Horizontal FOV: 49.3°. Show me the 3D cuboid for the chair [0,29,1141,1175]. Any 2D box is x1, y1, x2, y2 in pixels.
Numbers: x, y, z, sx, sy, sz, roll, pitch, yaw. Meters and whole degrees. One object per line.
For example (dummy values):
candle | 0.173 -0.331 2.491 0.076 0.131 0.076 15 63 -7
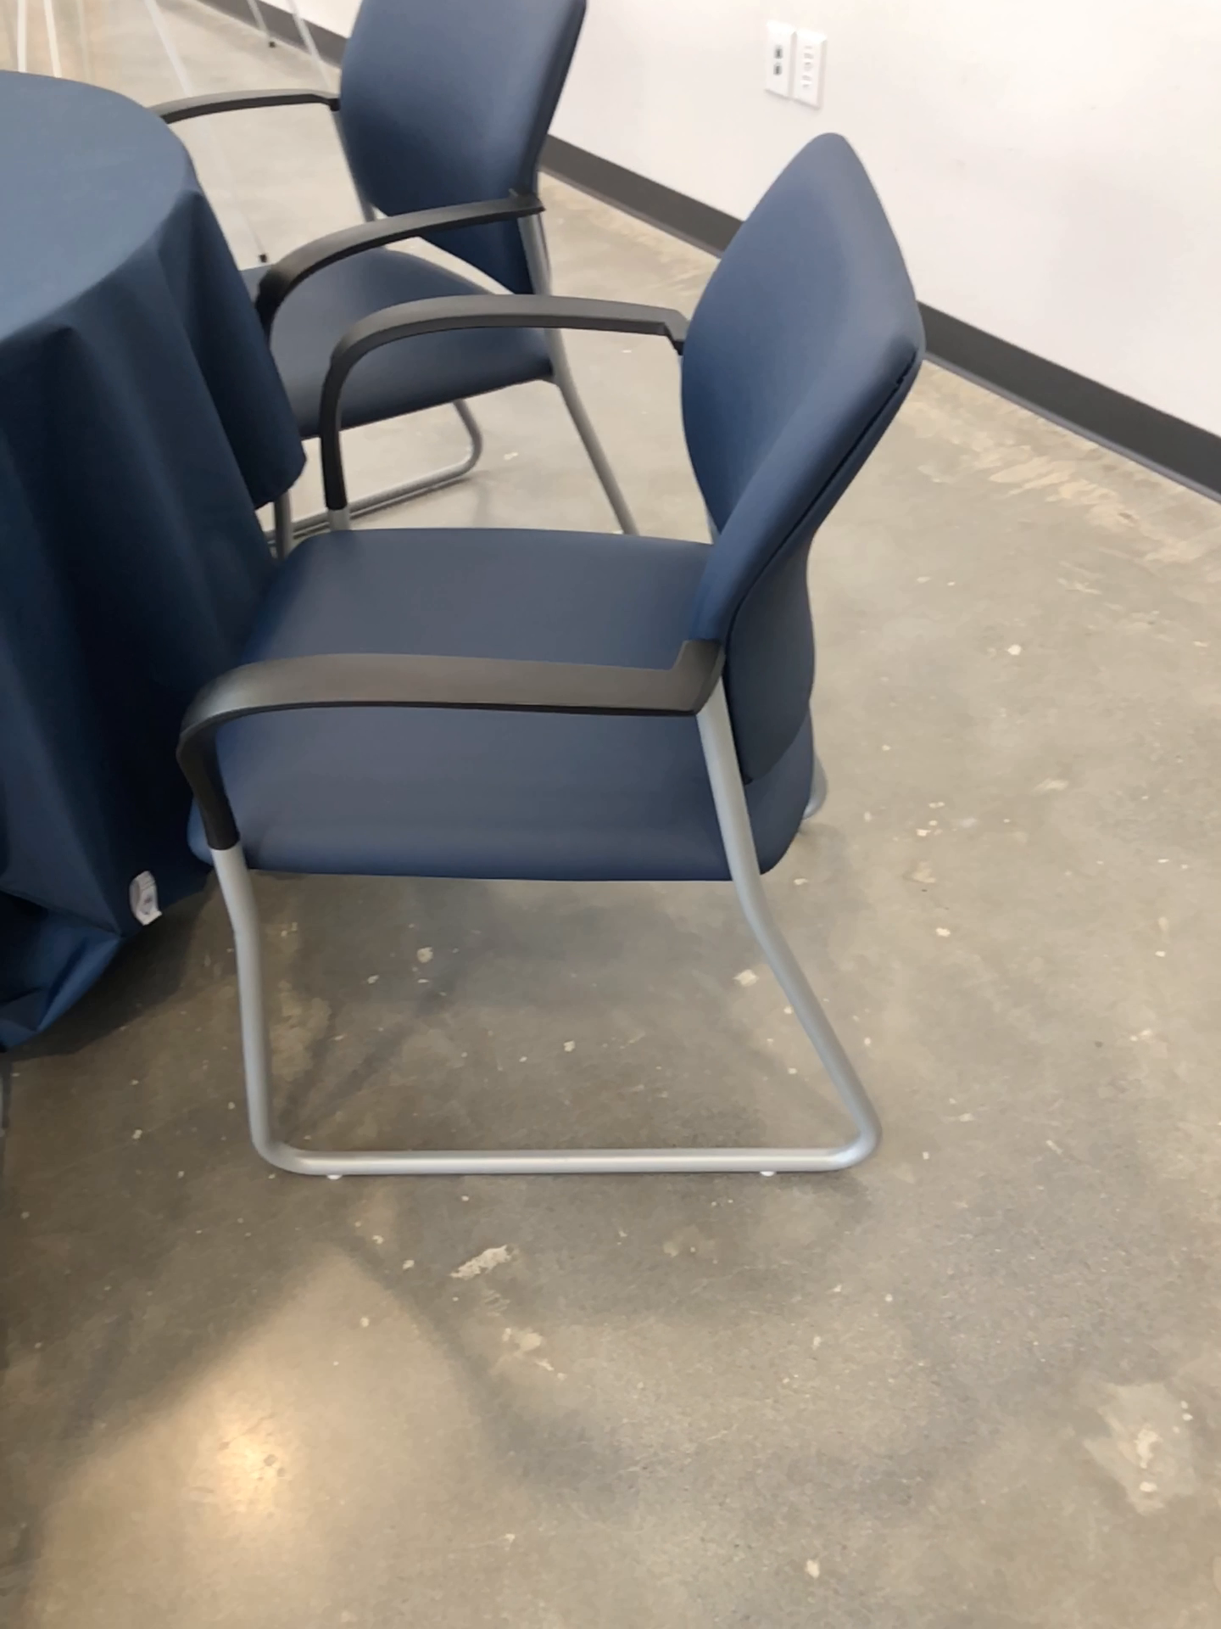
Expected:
chair | -0.046 -0.169 1.188 0.670 0.765 0.645 -1 44 2
